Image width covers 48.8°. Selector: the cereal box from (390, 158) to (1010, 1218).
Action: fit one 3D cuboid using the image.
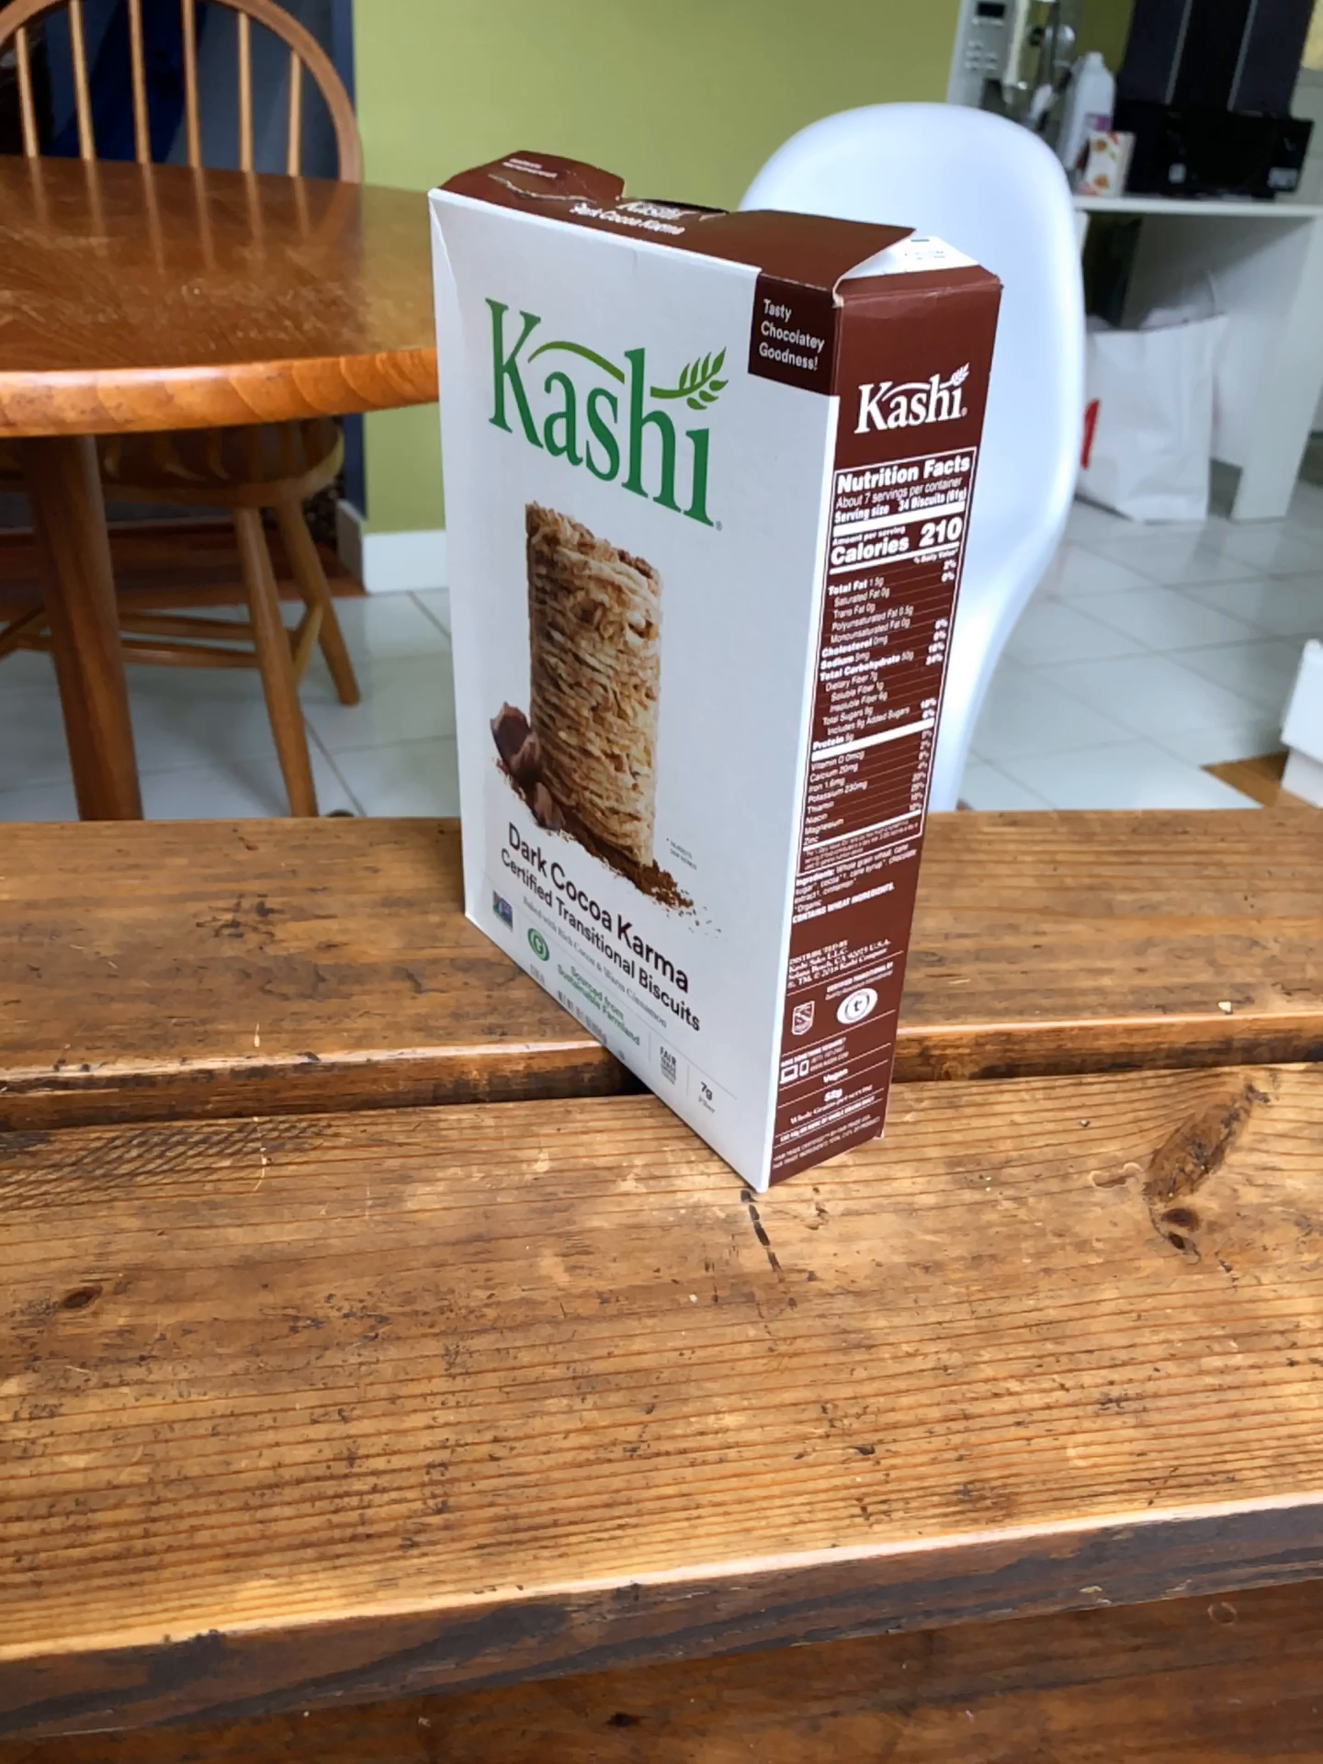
[{"bbox_3d":[-0.004,-0.066,0.469,0.060,0.278,0.201,-20,38,-30],"label":"cereal box"}]
